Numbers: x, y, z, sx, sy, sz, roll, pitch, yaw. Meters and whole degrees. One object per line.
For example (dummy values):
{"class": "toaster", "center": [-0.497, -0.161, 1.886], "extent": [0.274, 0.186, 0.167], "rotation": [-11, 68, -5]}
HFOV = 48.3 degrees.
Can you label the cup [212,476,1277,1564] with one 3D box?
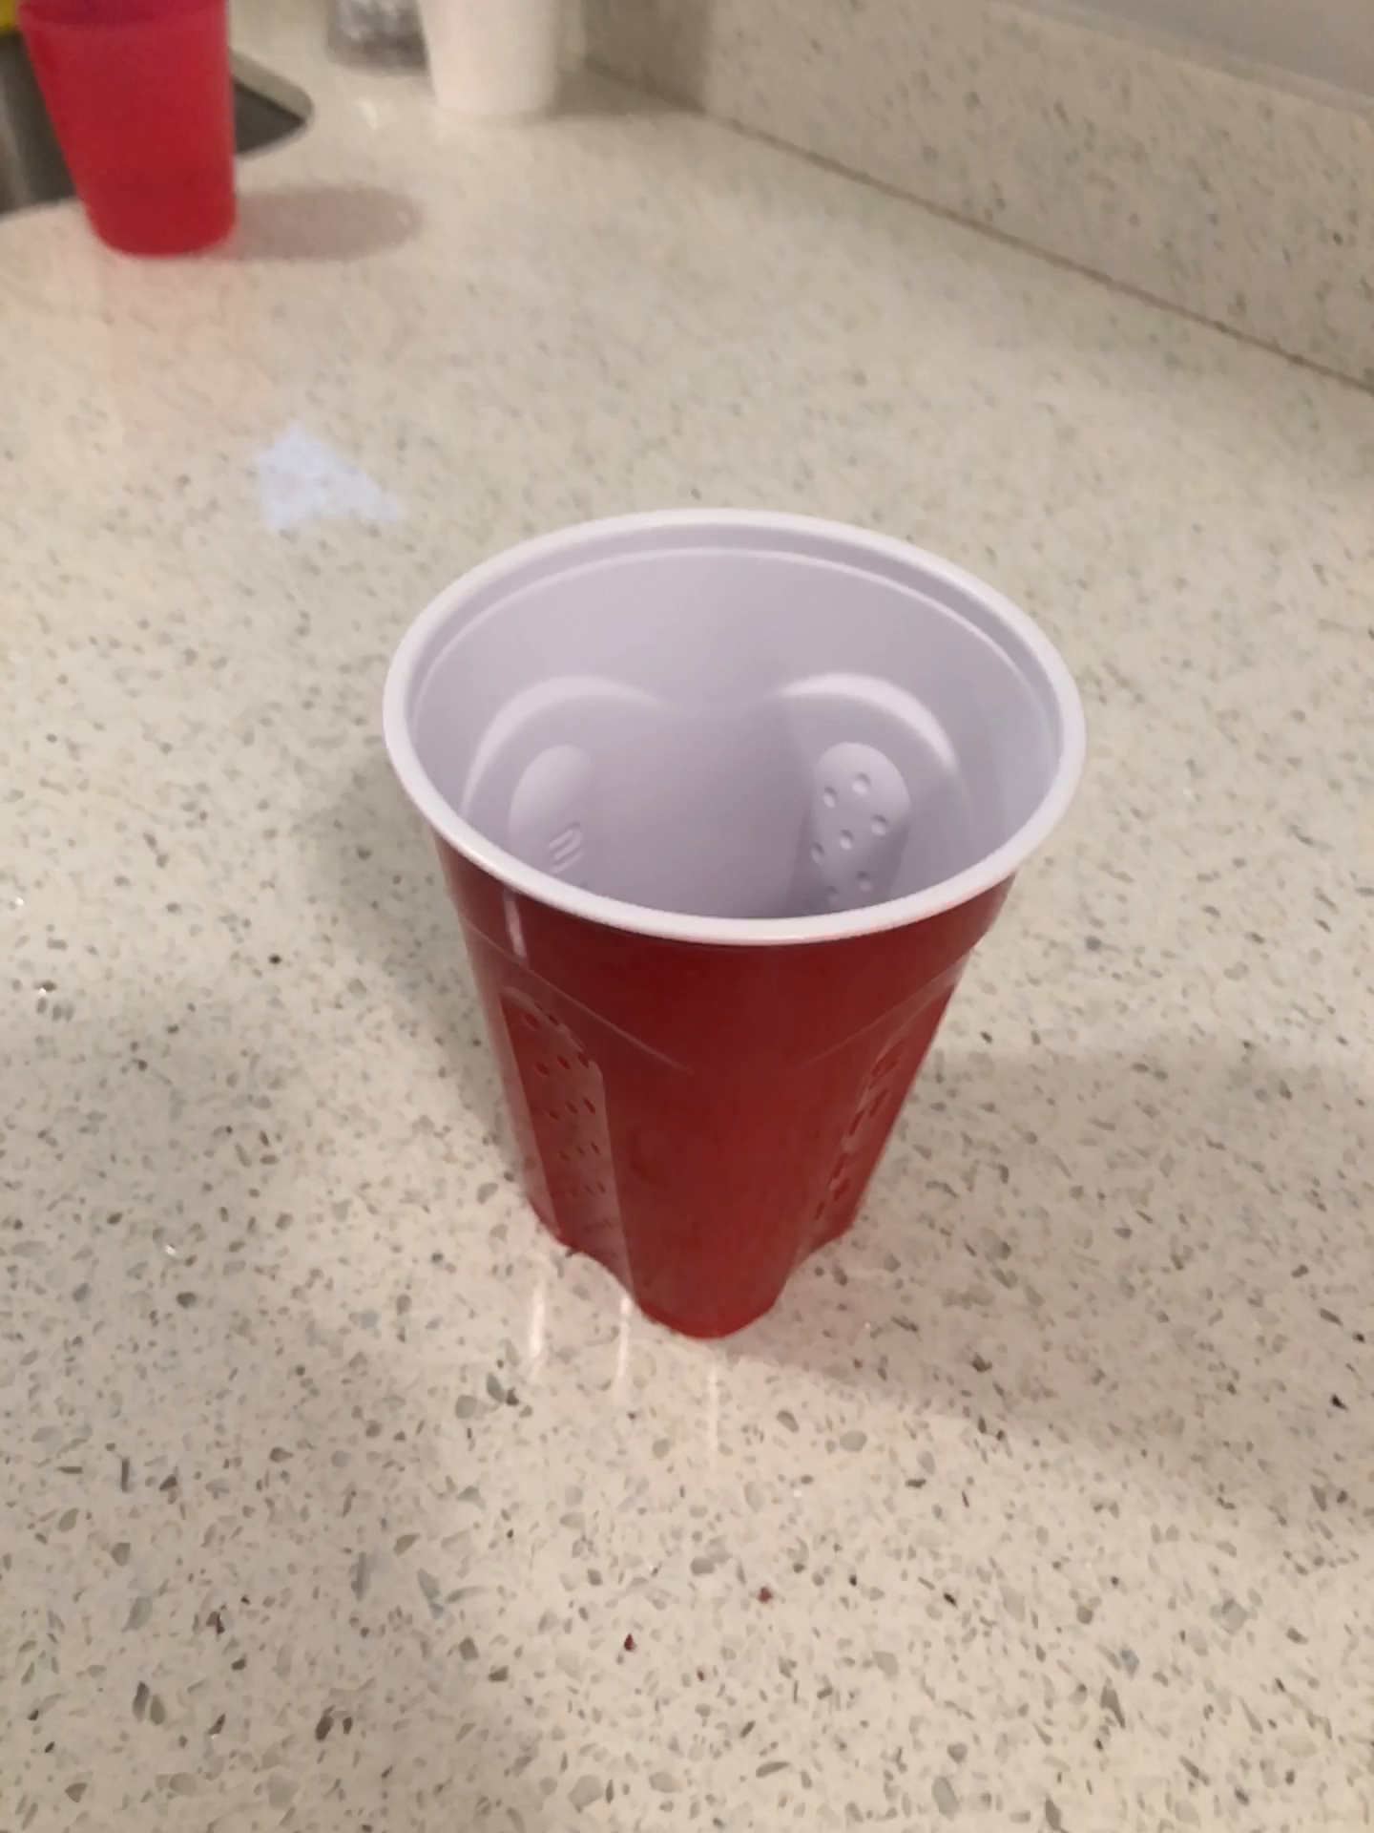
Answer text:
{"class": "cup", "center": [0.007, 0.009, 0.238], "extent": [0.101, 0.092, 0.102], "rotation": [1, 44, -1]}
